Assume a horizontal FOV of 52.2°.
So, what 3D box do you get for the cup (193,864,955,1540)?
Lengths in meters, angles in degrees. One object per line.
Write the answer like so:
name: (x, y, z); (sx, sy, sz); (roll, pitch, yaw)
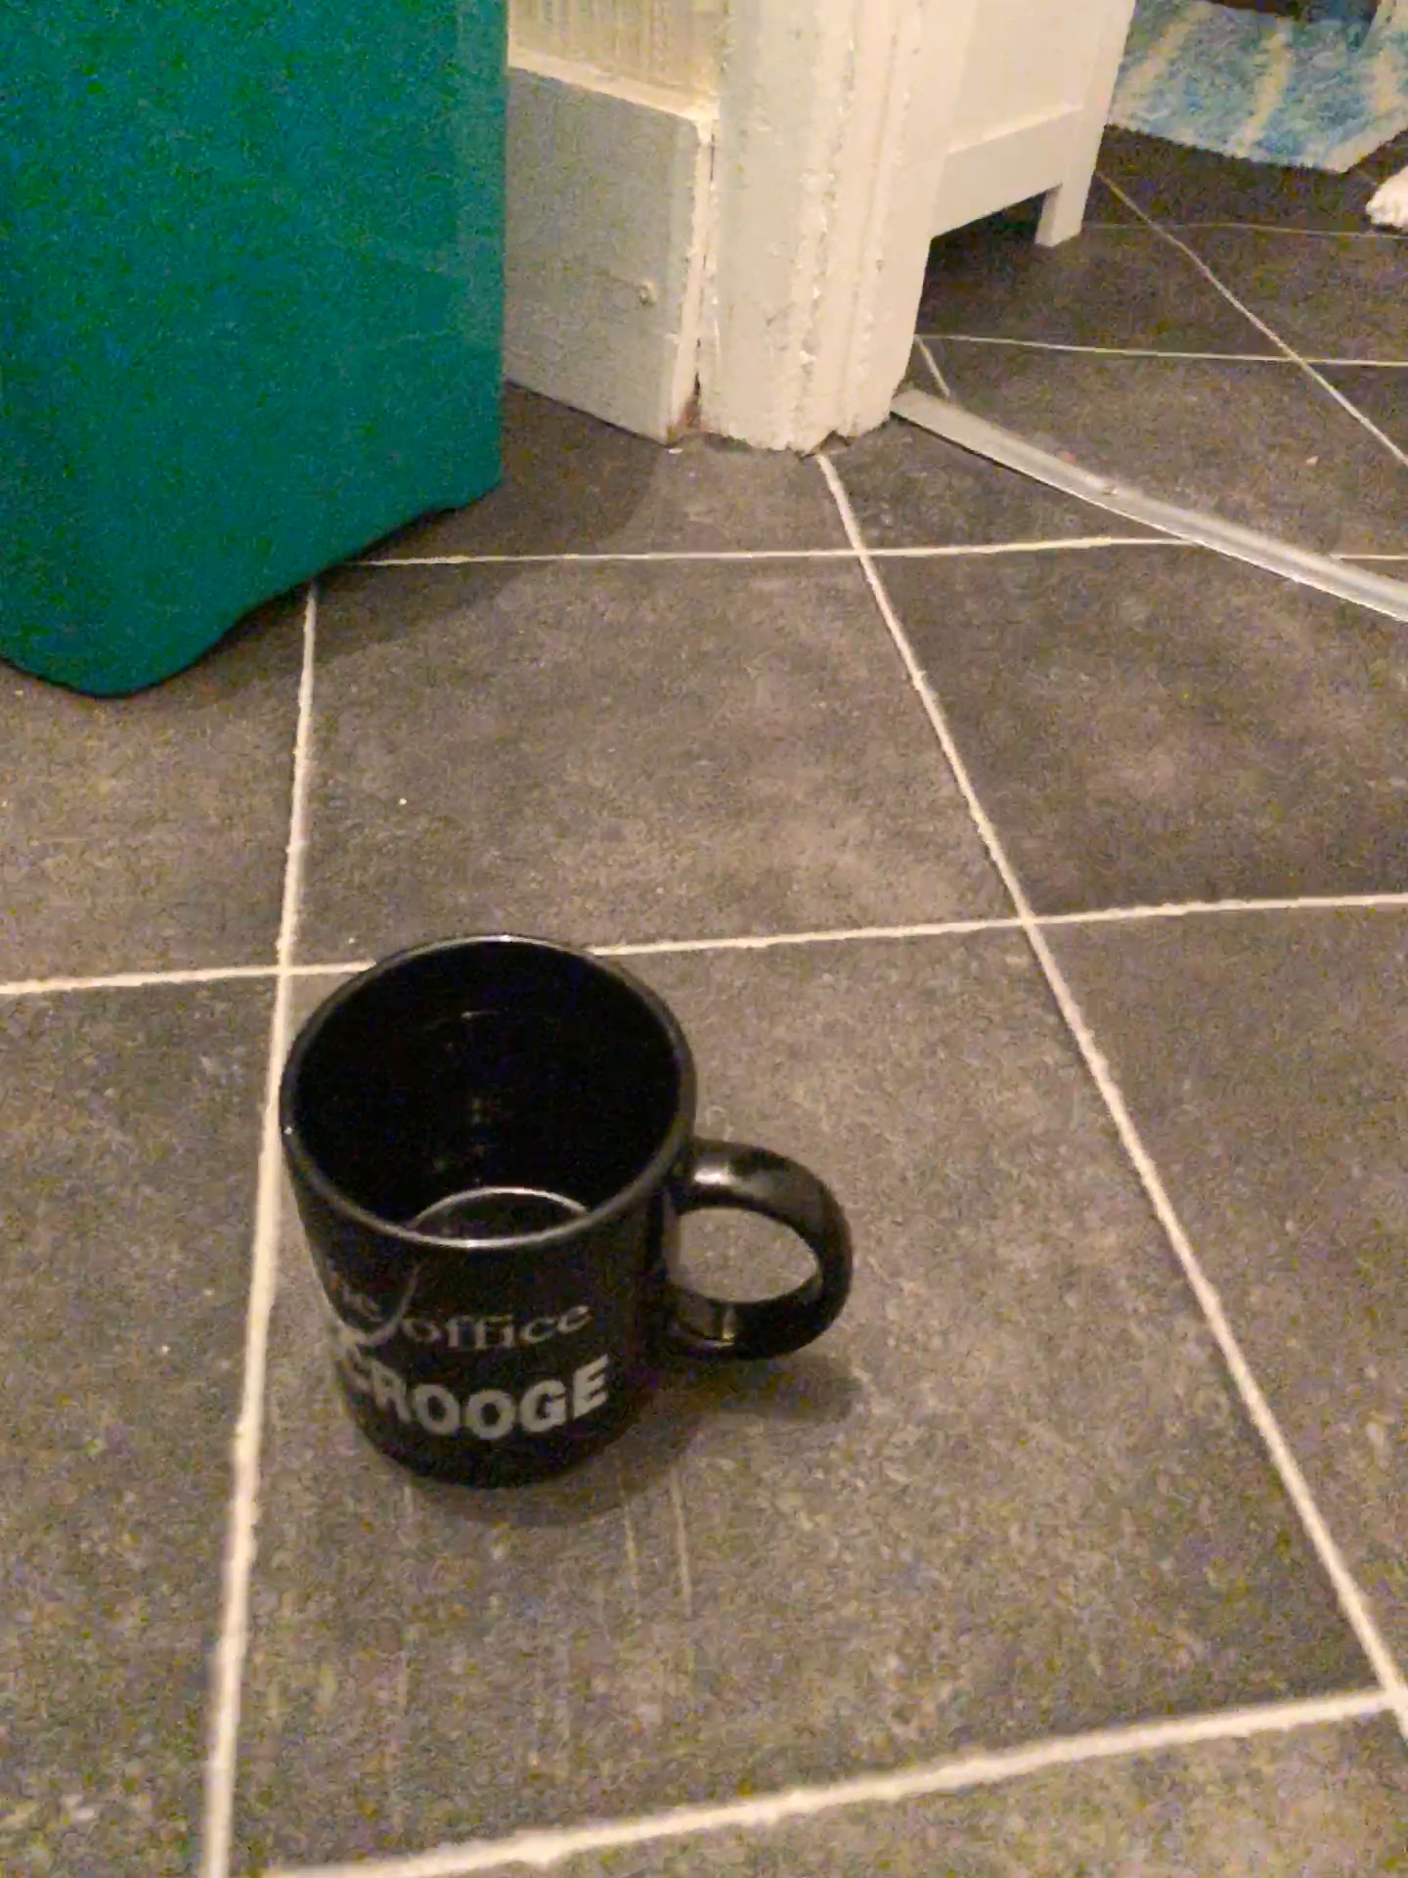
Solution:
cup: (-0.023, 0.057, 0.311); (0.130, 0.099, 0.091); (6, 43, -1)
